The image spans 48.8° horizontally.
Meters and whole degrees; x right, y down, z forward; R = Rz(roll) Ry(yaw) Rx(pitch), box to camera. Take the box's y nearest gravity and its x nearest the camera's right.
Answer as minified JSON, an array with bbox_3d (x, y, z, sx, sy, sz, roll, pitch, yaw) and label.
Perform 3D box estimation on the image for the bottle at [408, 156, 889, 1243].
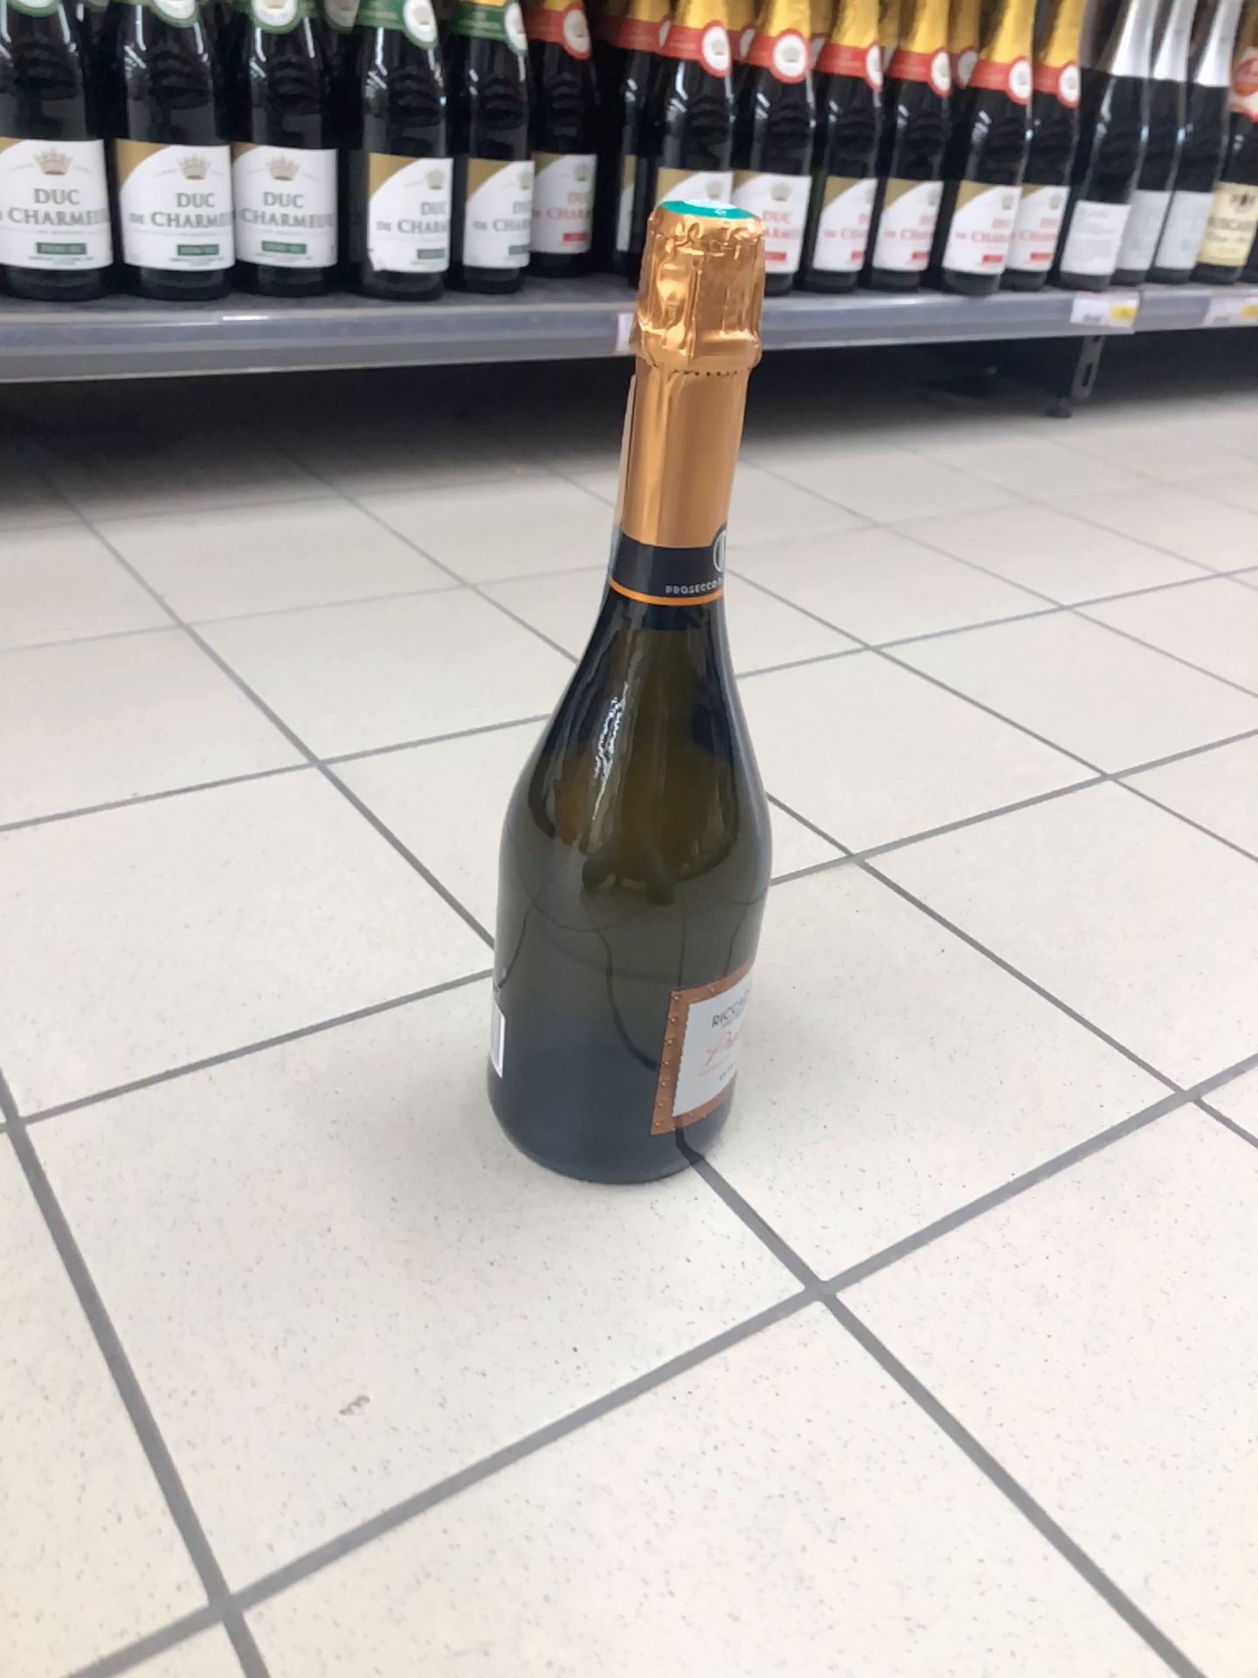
[{"bbox_3d":[-0.002,-0.036,0.444,0.090,0.318,0.101,16,30,17],"label":"bottle"}]
